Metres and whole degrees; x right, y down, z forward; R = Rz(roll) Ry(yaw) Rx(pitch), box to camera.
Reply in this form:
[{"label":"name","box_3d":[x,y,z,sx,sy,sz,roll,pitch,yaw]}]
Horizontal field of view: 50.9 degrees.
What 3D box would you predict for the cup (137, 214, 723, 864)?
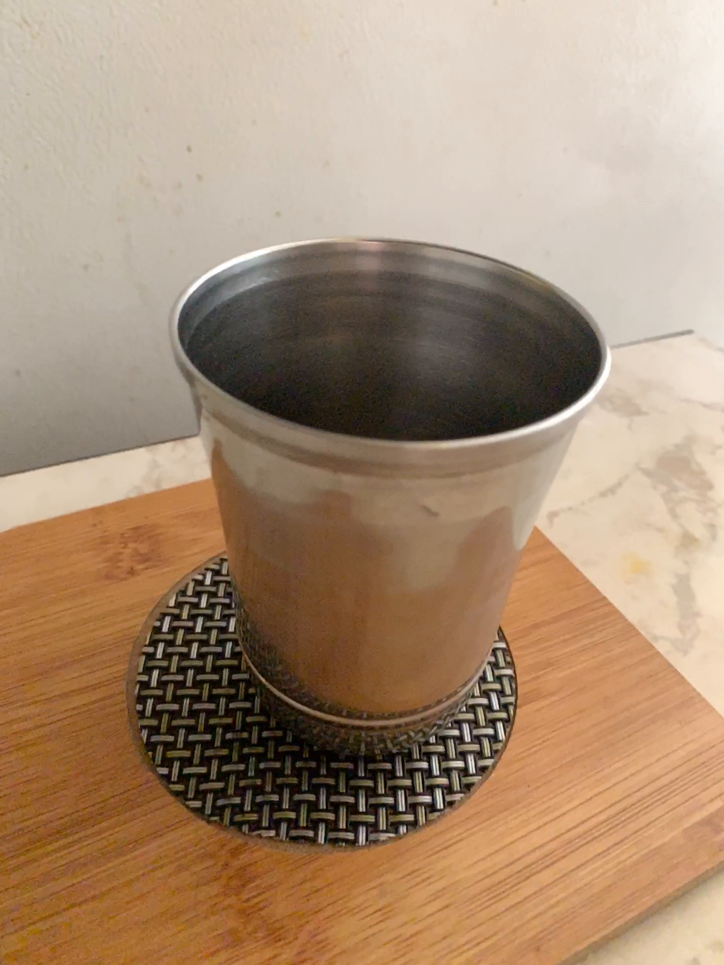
[{"label":"cup","box_3d":[0.005,0.008,0.153,0.072,0.091,0.071,2,39,-2]}]
